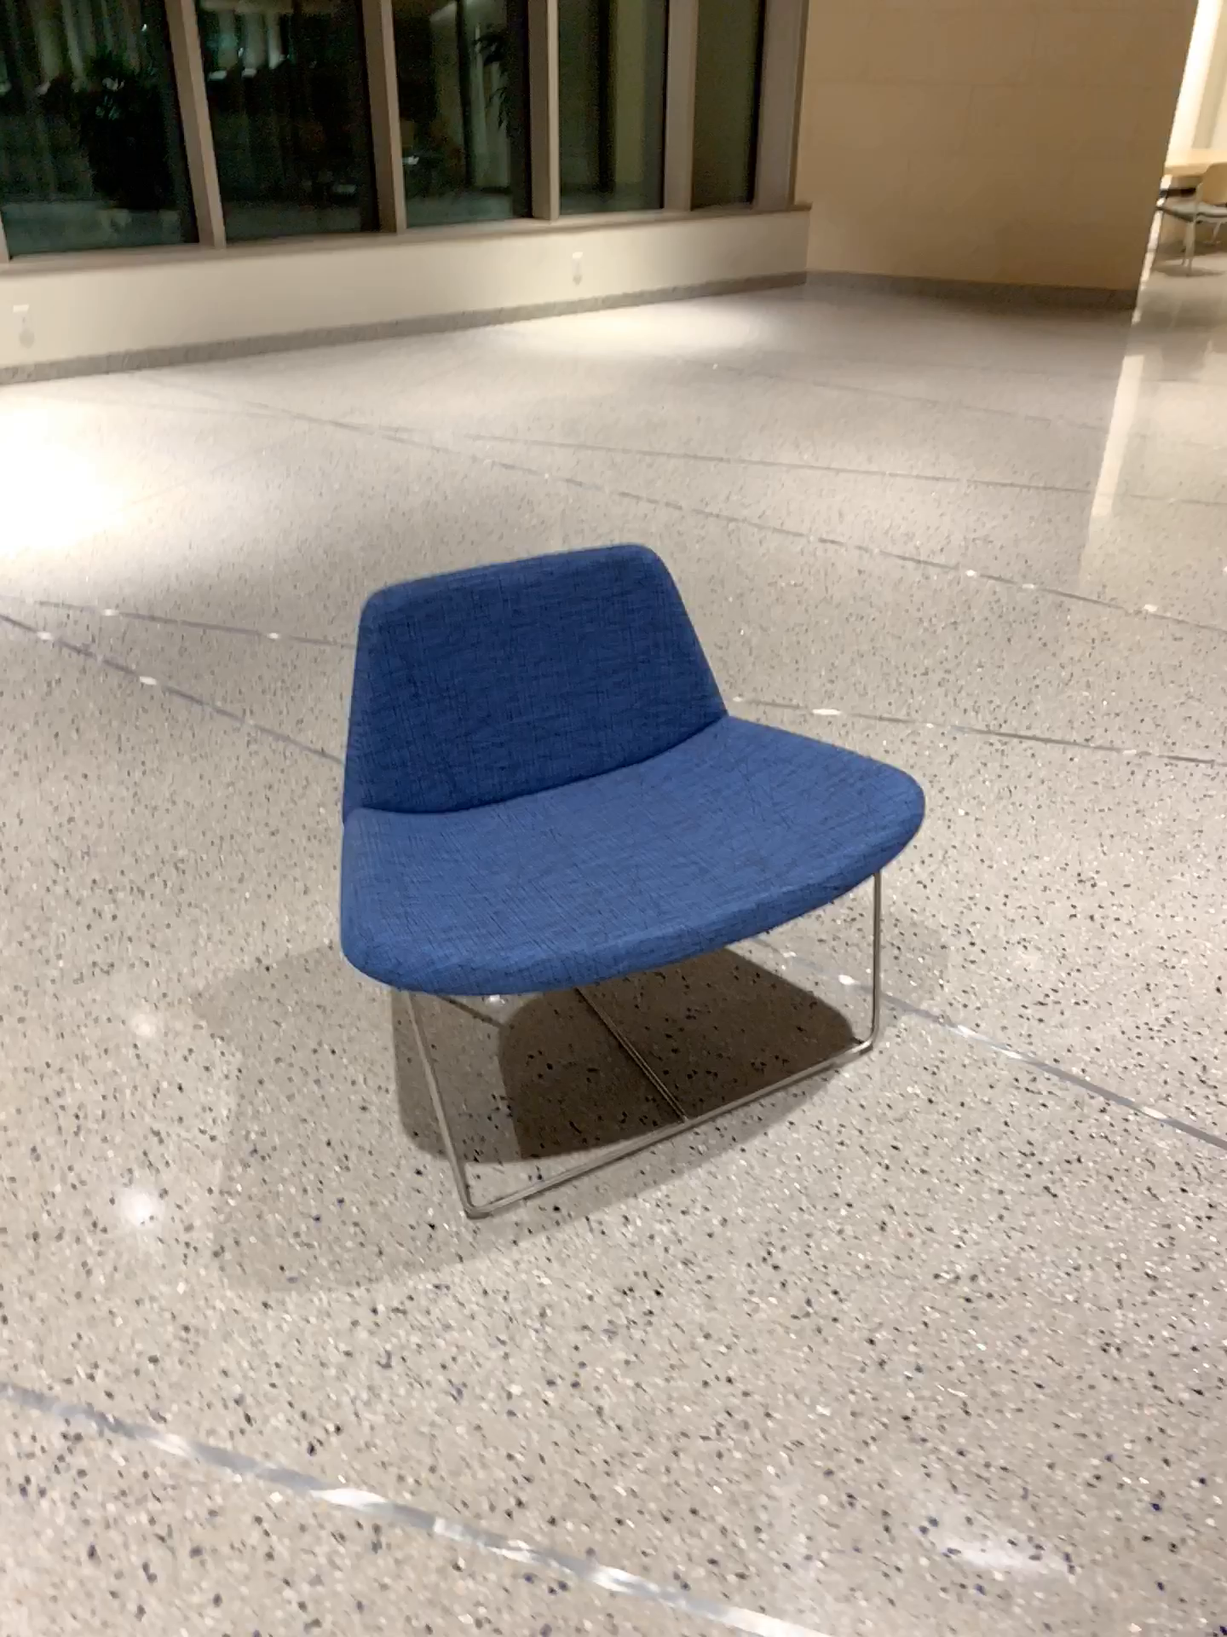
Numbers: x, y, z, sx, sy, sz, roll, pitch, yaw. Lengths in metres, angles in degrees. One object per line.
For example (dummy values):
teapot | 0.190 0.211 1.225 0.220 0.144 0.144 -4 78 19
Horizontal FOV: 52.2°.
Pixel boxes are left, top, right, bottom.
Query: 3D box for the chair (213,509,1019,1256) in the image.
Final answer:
chair | -0.014 0.017 1.957 0.943 0.698 0.665 -16 34 -26
